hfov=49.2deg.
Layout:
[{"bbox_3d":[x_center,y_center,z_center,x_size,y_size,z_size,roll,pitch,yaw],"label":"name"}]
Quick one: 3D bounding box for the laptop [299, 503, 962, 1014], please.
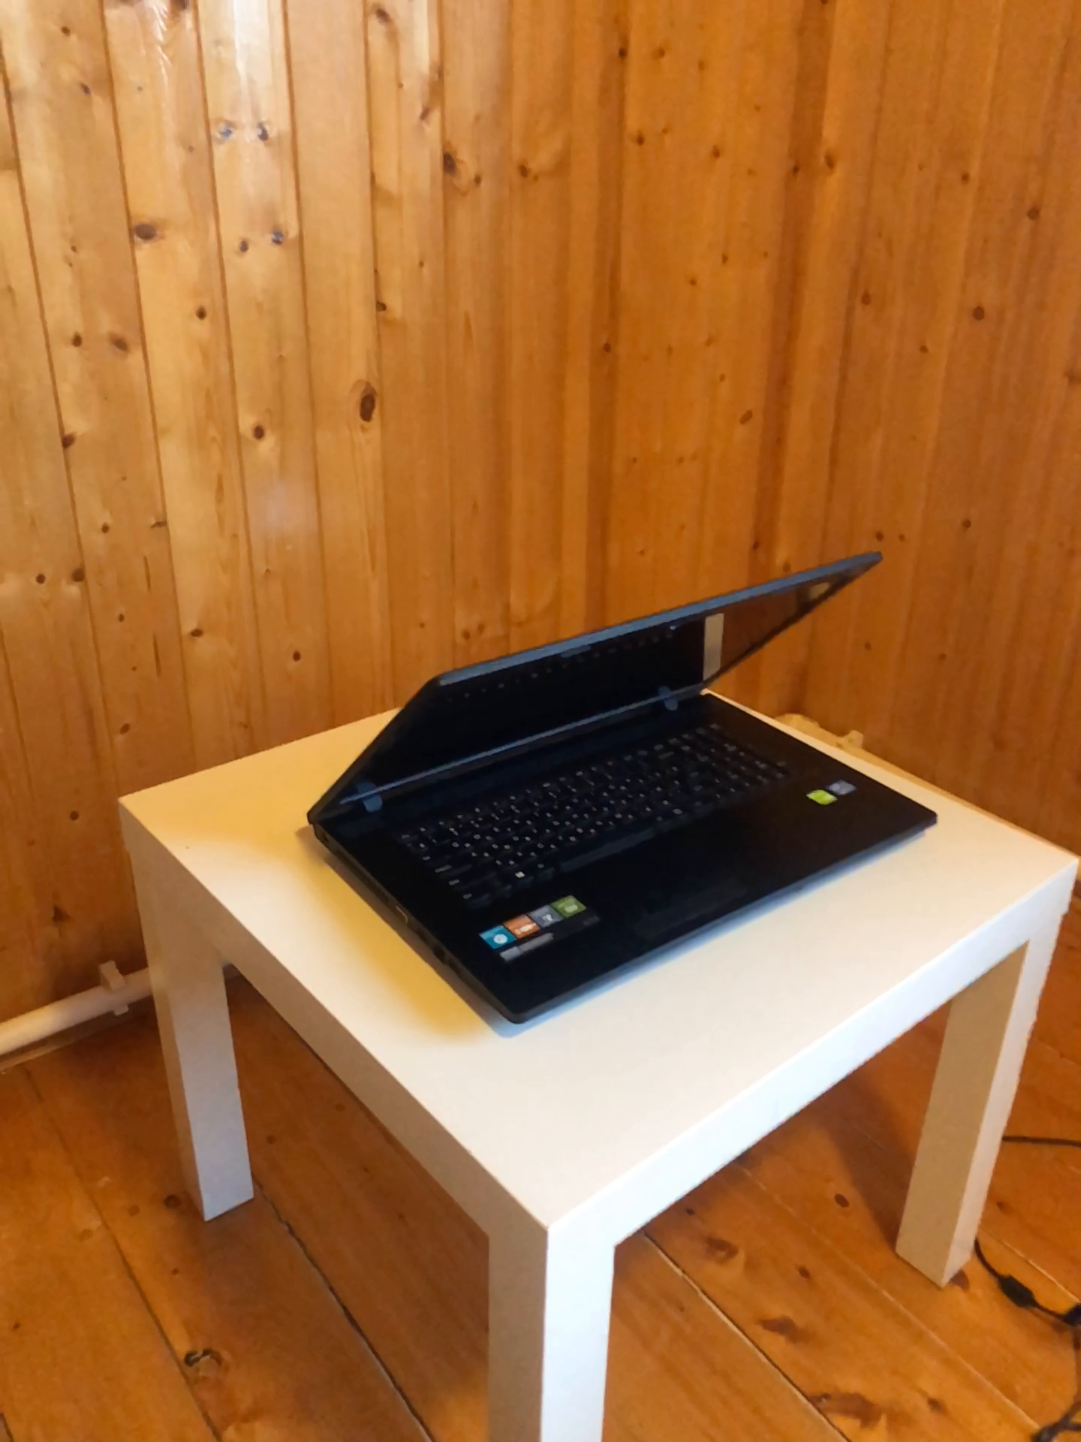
[{"bbox_3d":[0.069,-0.009,0.857,0.402,0.183,0.252,-17,32,-35],"label":"laptop"}]
